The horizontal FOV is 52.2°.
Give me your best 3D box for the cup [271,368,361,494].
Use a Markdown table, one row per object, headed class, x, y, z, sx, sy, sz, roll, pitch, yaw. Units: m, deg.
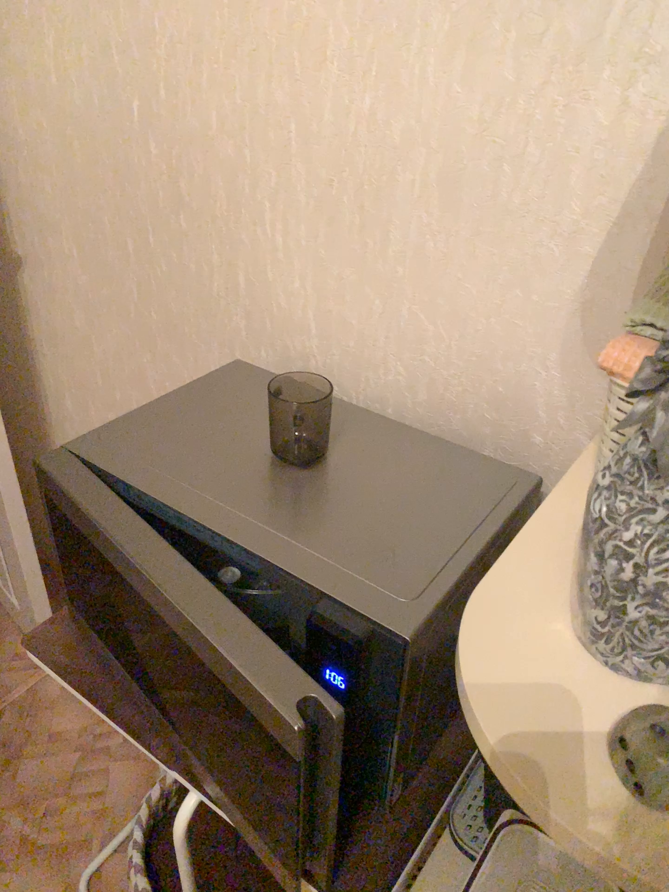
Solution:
| class | x | y | z | sx | sy | sz | roll | pitch | yaw |
| --- | --- | --- | --- | --- | --- | --- | --- | --- | --- |
| cup | -0.024 | -0.019 | 0.754 | 0.077 | 0.094 | 0.102 | -5 | 33 | -12 |
